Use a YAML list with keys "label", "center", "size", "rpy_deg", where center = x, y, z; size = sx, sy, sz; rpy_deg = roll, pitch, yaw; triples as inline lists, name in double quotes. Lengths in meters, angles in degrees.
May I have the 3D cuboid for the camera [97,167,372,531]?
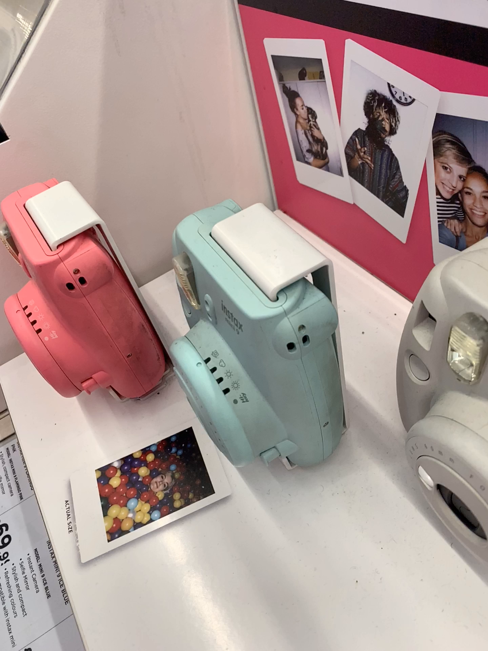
- label: "camera"
  center: [0.000, 0.013, 0.254]
  size: [0.070, 0.129, 0.111]
  rpy_deg: [-28, 47, -11]
